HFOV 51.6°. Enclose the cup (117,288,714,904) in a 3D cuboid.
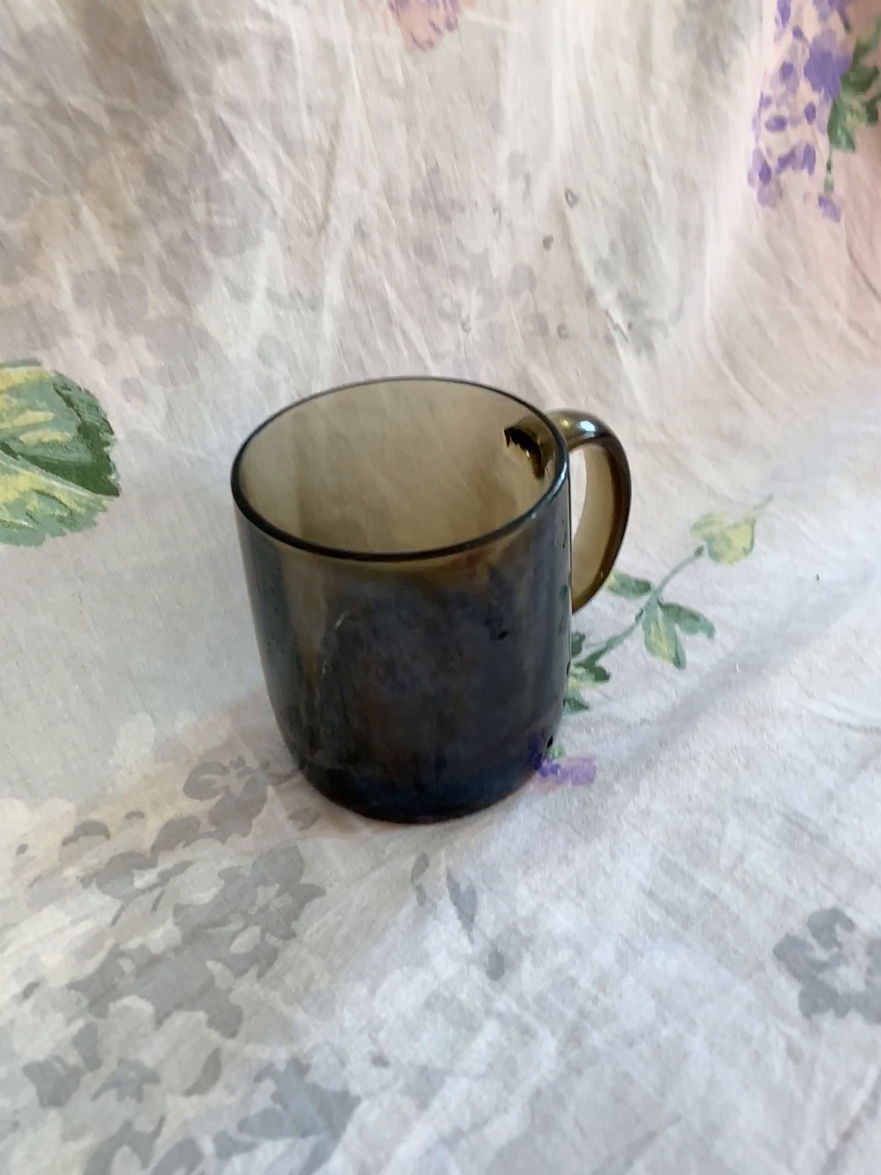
[{"bbox_3d":[-0.001,-0.004,0.251,0.120,0.098,0.082,-33,48,-27],"label":"cup"}]
